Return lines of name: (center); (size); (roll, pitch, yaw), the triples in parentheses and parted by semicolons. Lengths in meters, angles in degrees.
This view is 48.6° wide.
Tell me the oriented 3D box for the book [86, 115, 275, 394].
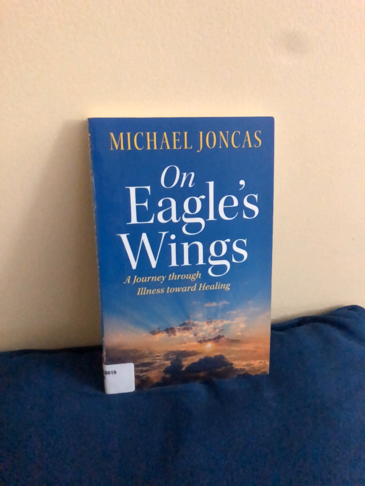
book: (0.002, 0.010, 0.318); (0.139, 0.210, 0.014); (-3, 10, -11)
